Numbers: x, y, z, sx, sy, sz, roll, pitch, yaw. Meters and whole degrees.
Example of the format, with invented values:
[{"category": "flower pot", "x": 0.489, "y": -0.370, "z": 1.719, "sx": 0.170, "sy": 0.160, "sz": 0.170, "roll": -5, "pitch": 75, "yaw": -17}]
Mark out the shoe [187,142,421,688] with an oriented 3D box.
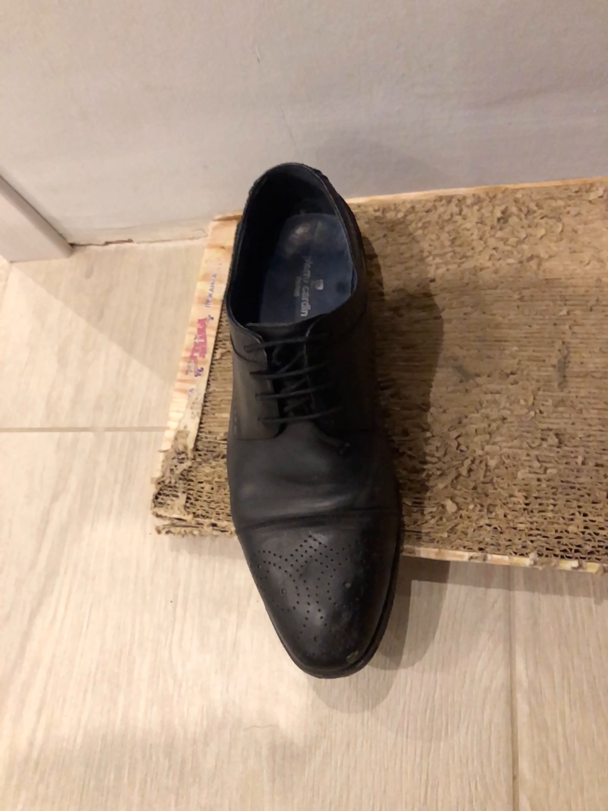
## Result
[{"category": "shoe", "x": 0.002, "y": 0.005, "z": 0.380, "sx": 0.090, "sy": 0.100, "sz": 0.281, "roll": -8, "pitch": 67, "yaw": 14}]
